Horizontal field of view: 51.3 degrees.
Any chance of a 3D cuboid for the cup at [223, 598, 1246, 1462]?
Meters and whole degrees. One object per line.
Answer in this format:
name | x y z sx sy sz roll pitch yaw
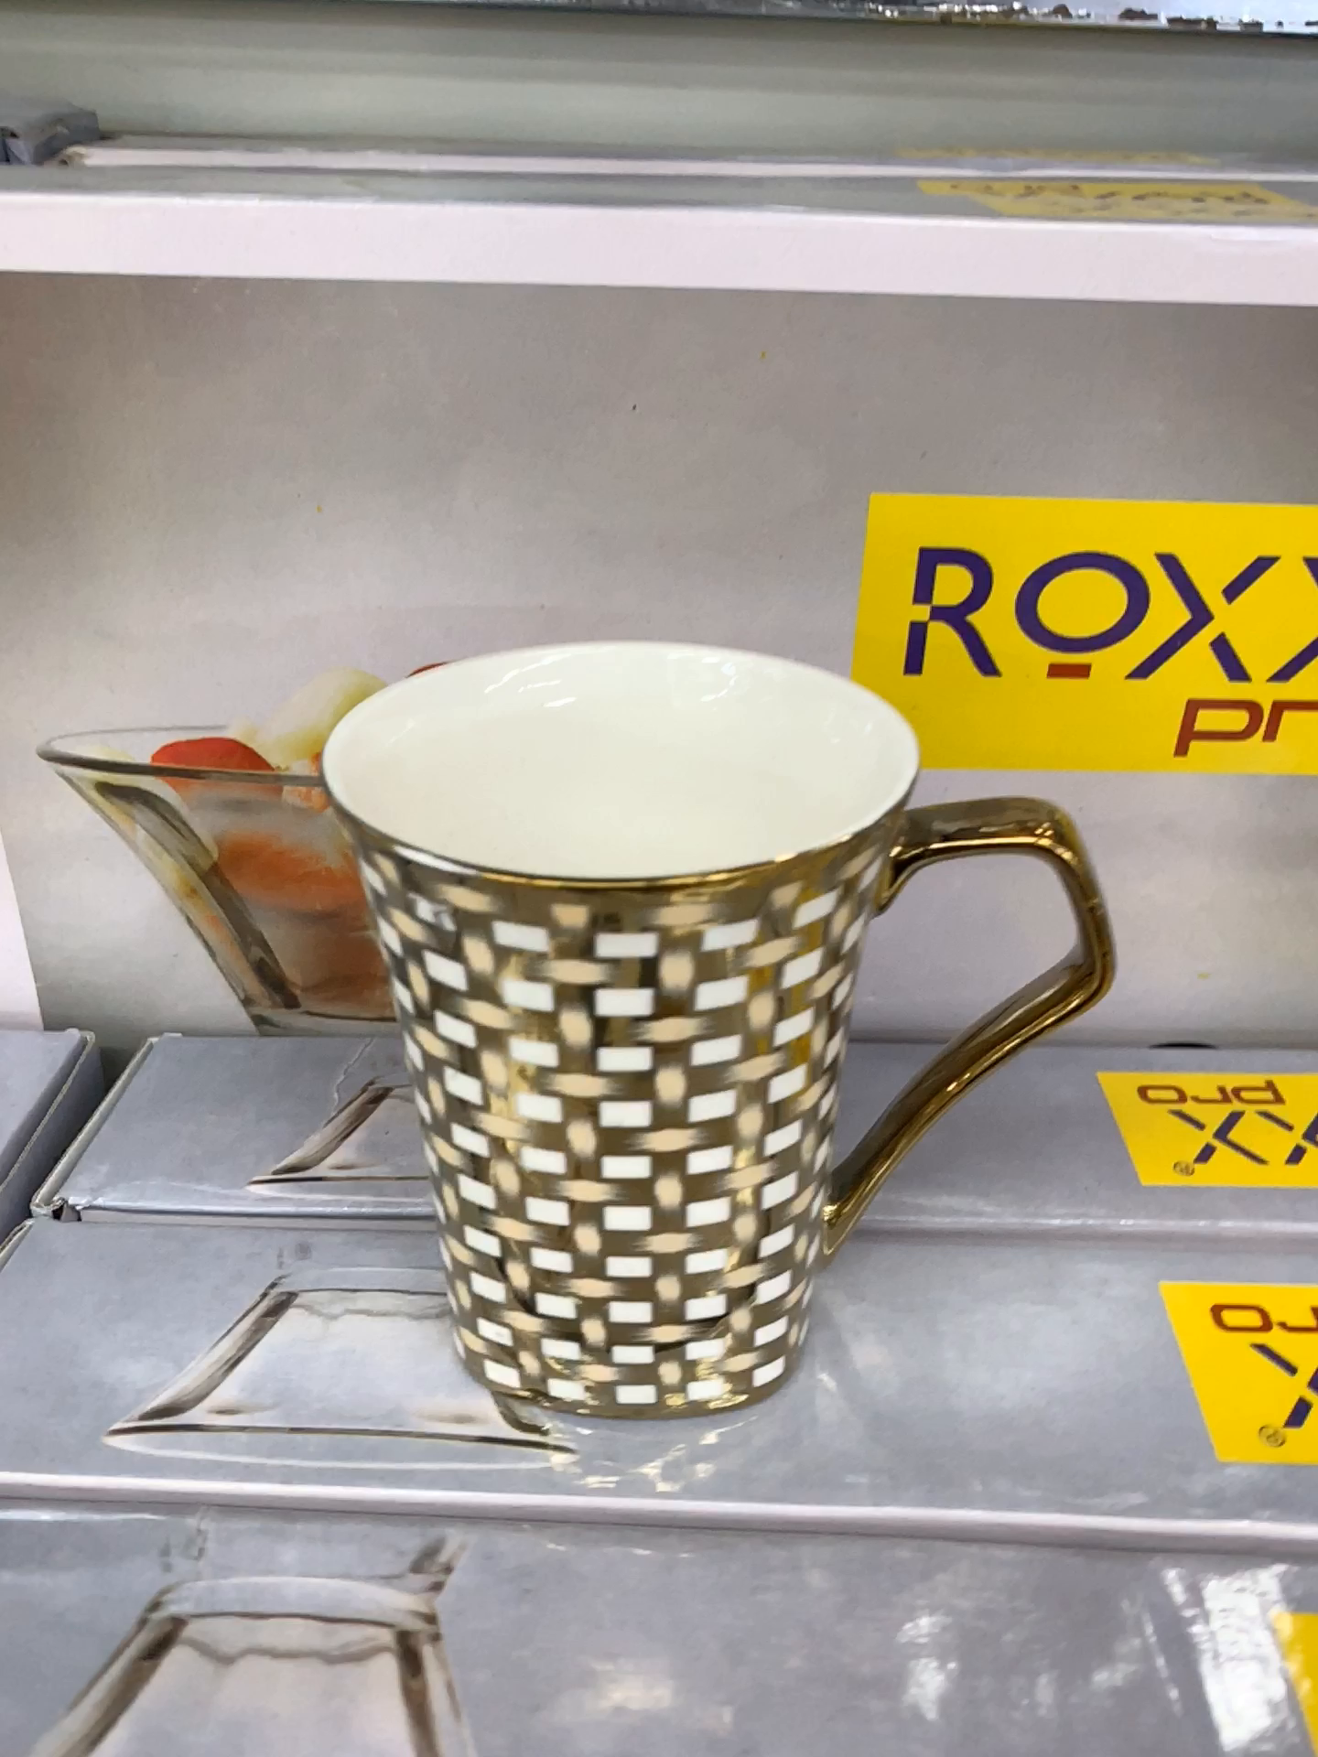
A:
cup | 0.009 0.018 0.209 0.112 0.092 0.083 4 30 2
